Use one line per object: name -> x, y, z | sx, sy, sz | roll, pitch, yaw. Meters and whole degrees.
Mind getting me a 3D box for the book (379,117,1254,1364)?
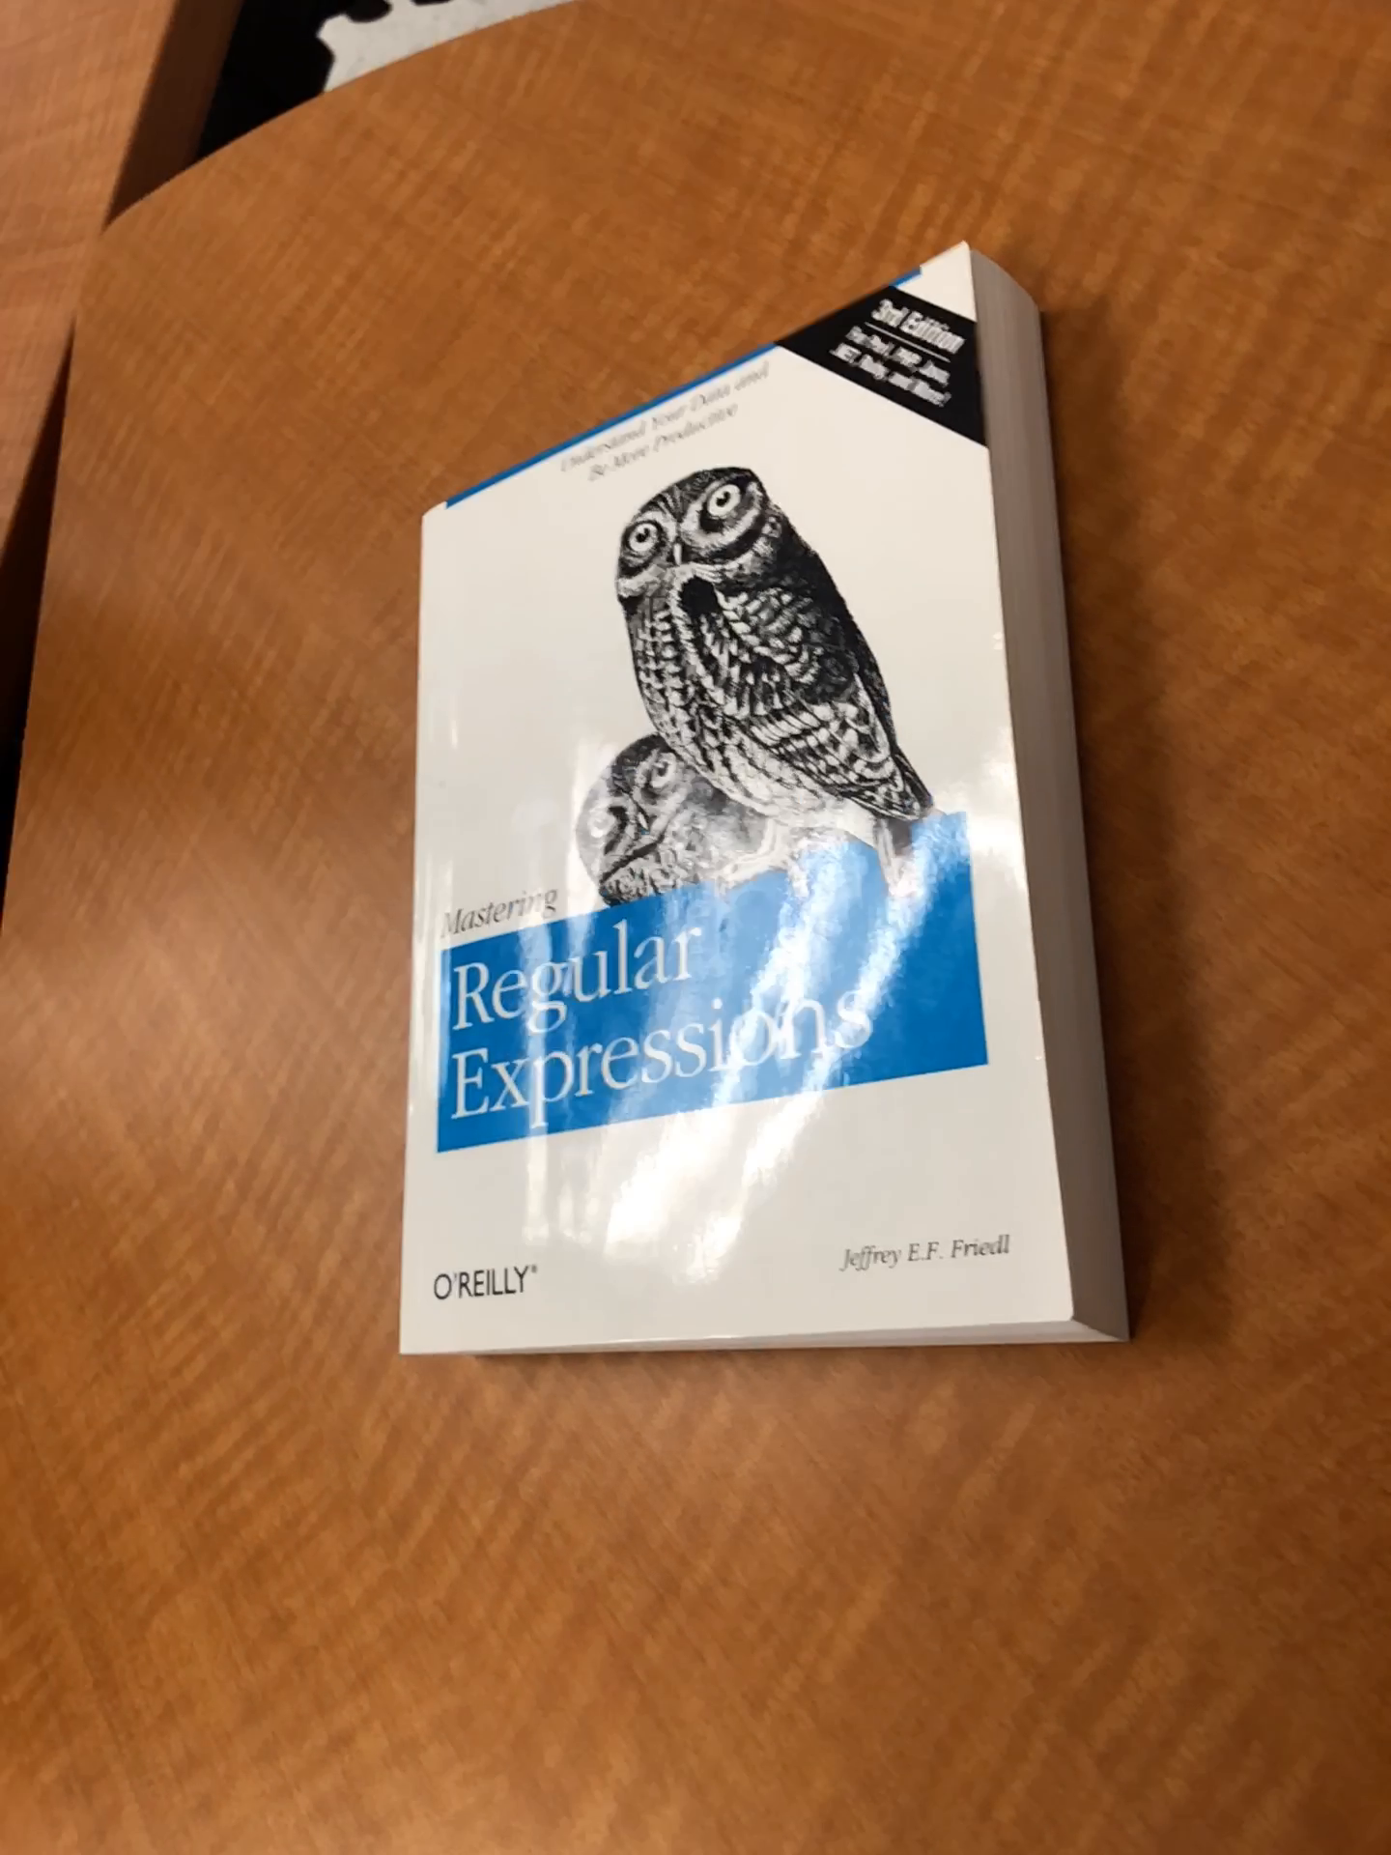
book -> 0.013, -0.031, 0.373 | 0.201, 0.040, 0.260 | -13, 70, 35
